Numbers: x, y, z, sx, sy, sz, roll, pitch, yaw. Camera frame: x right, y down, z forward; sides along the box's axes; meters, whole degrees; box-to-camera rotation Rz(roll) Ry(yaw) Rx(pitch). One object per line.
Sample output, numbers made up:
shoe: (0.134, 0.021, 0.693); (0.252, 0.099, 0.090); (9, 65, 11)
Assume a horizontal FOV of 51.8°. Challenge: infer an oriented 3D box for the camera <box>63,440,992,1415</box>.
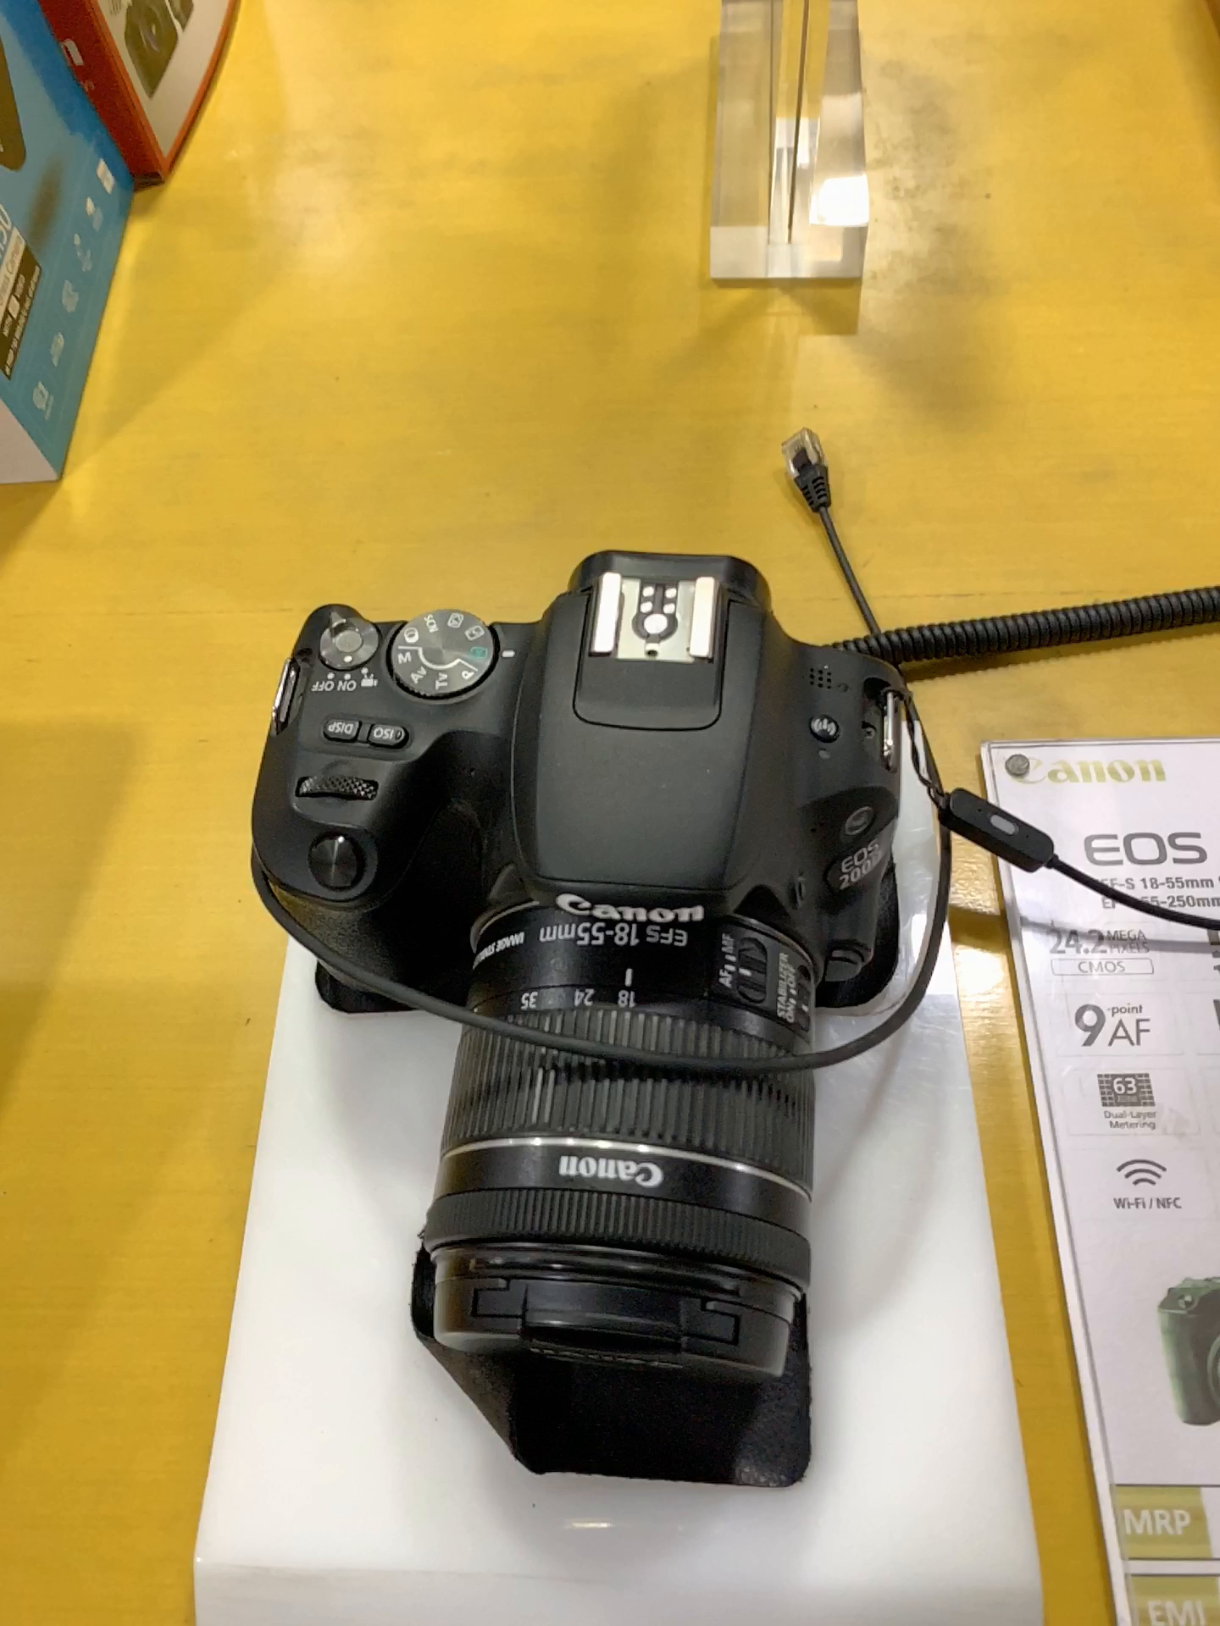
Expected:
camera: (-0.005, 0.015, 0.231); (0.120, 0.070, 0.160); (1, 60, 5)
